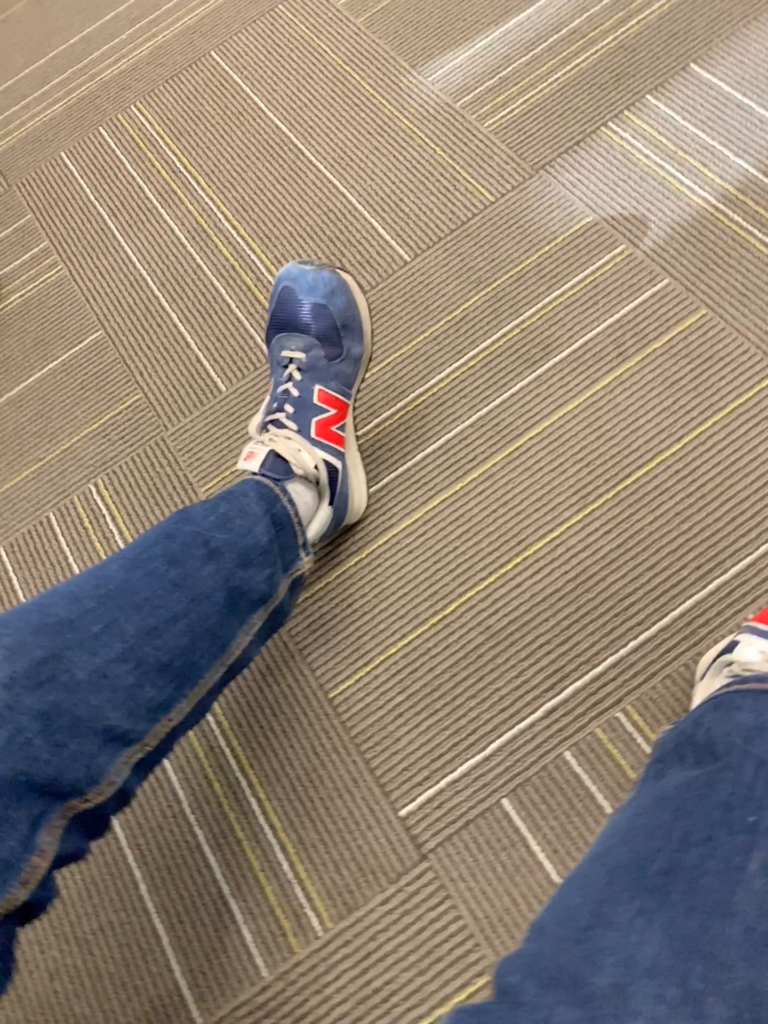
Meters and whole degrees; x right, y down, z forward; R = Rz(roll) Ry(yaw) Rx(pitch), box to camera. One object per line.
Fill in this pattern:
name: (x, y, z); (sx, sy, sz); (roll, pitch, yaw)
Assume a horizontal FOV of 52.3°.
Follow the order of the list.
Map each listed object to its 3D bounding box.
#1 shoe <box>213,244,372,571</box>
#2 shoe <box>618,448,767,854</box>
shoe: (-0.088, -0.104, 0.800); (0.115, 0.302, 0.096); (13, 31, 19)
shoe: (0.336, 0.118, 0.627); (0.120, 0.296, 0.136); (36, 39, 13)
